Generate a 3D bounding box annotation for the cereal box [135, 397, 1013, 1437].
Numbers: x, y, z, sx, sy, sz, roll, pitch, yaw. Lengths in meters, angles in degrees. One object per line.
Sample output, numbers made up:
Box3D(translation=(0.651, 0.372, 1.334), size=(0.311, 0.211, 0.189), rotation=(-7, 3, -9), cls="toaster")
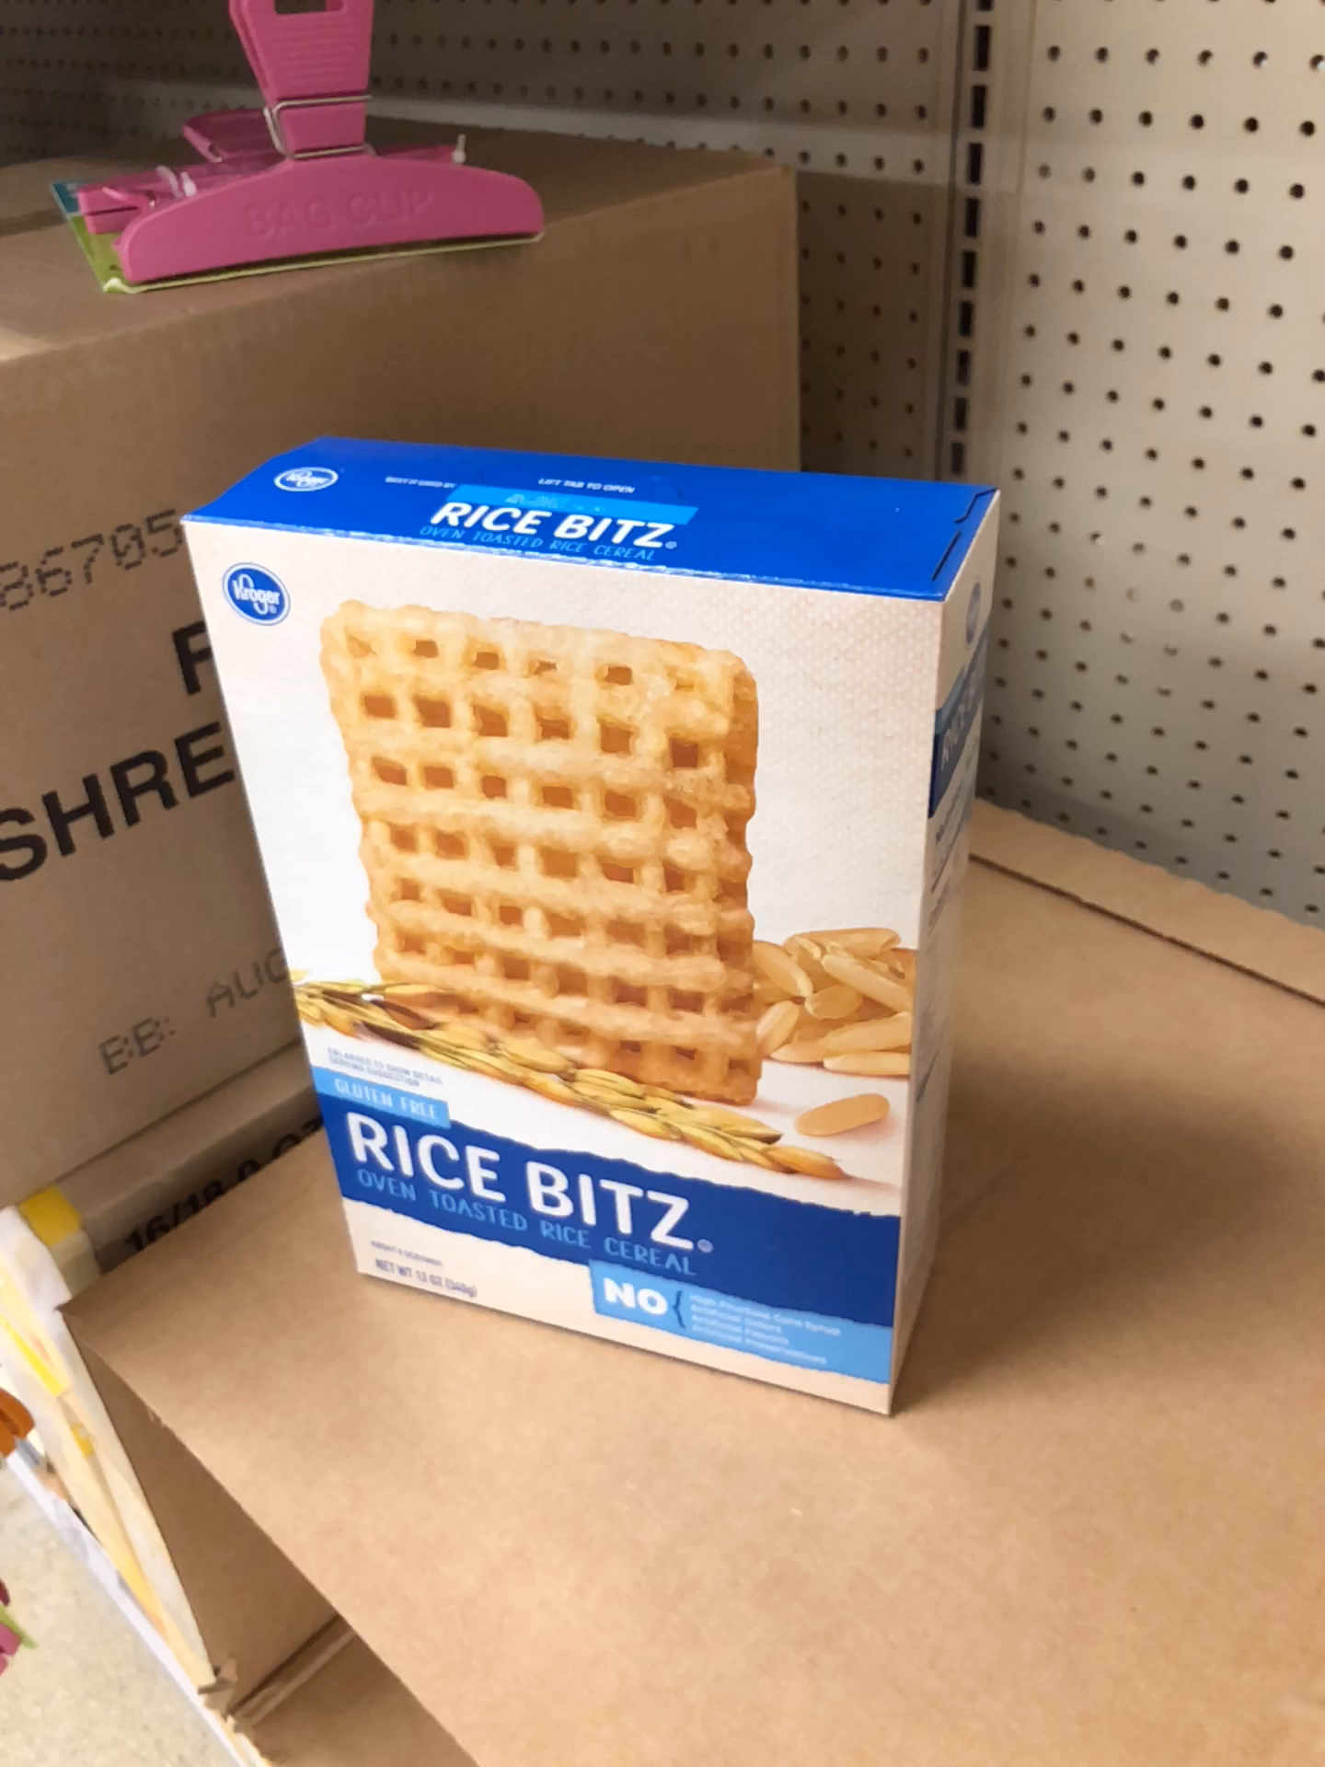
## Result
Box3D(translation=(-0.015, 0.018, 0.438), size=(0.200, 0.289, 0.070), rotation=(9, 36, 19), cls="cereal box")
